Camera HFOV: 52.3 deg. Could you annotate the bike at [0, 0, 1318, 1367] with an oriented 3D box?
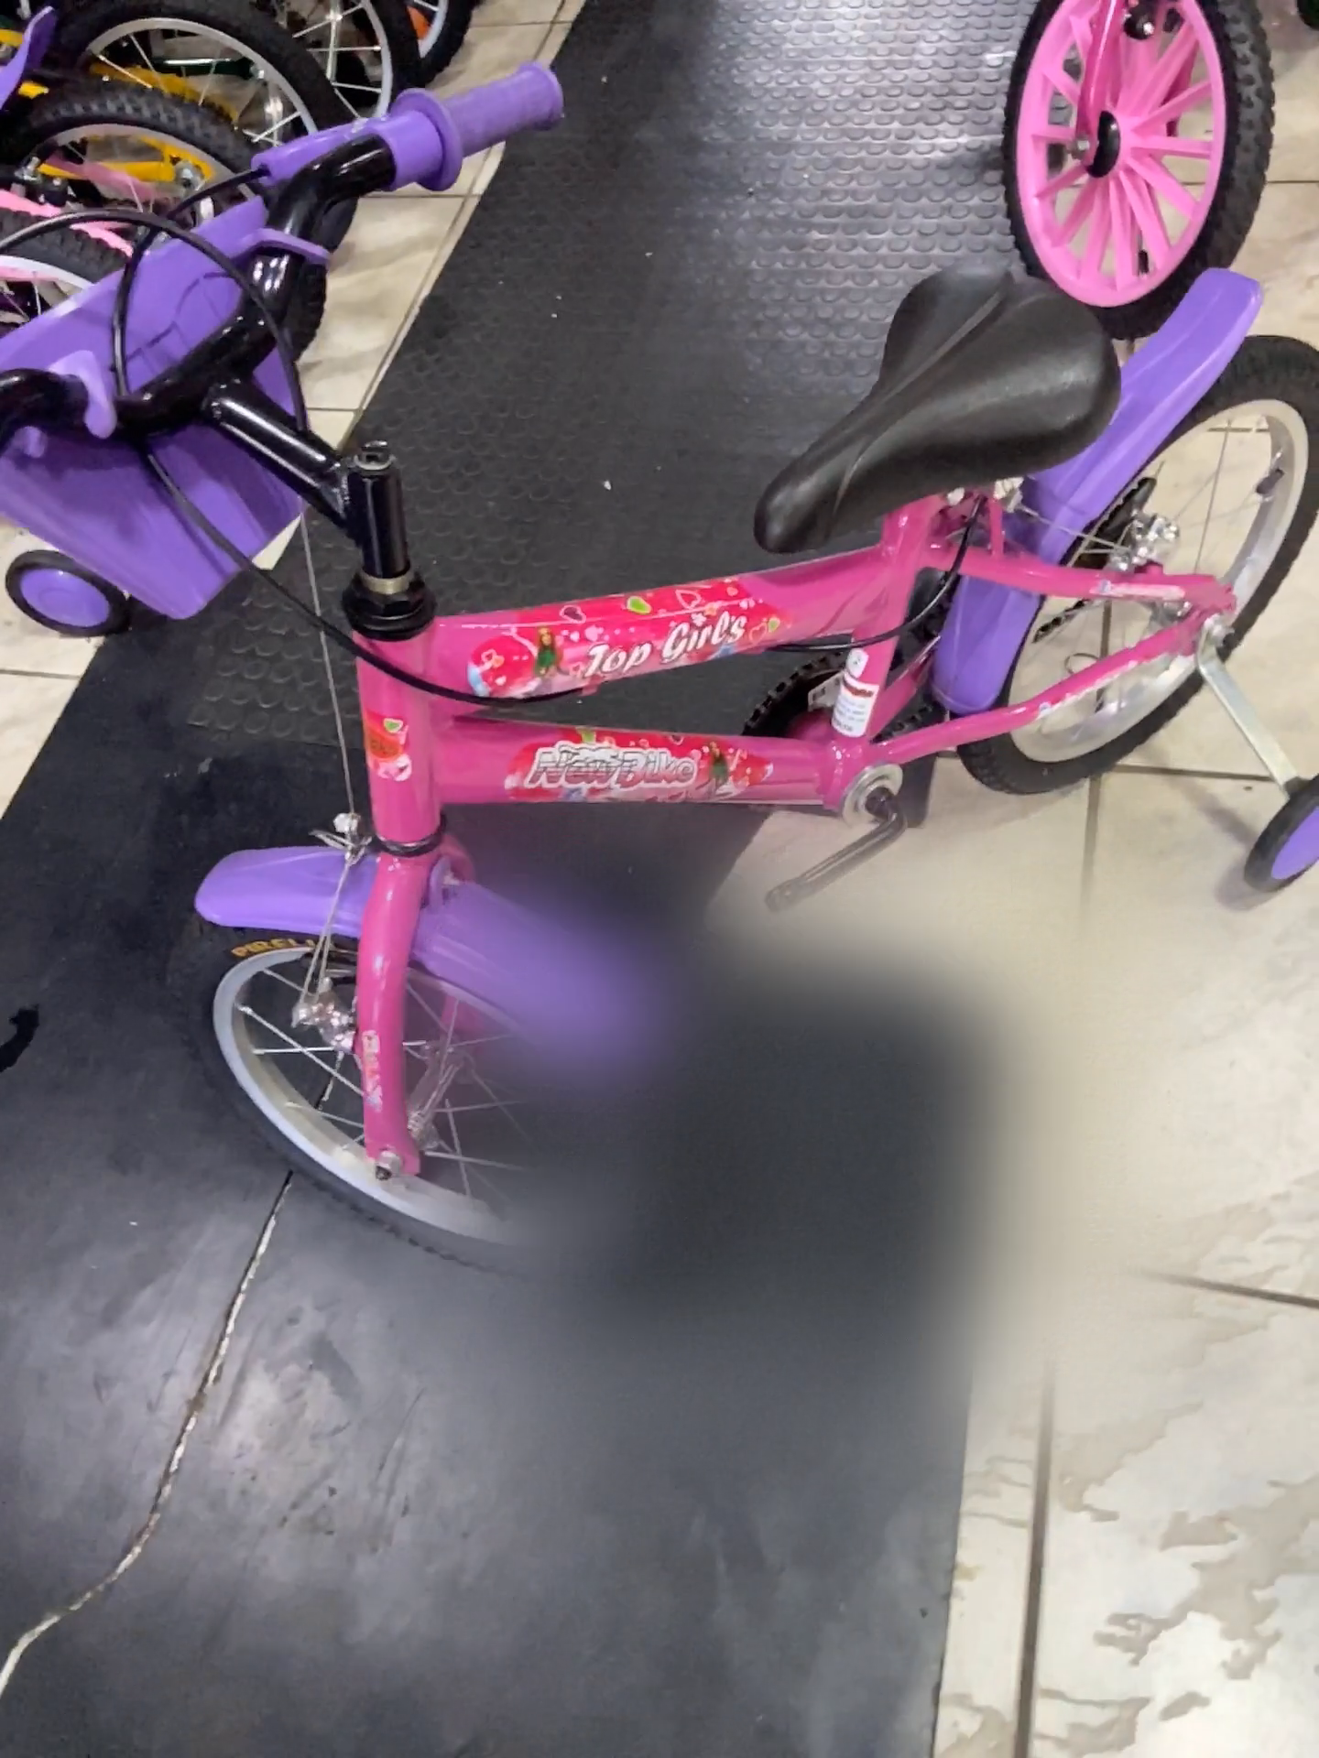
[{"bbox_3d":[0.013,-0.211,0.889,0.921,0.703,0.548,-30,56,-5],"label":"bike"}]
